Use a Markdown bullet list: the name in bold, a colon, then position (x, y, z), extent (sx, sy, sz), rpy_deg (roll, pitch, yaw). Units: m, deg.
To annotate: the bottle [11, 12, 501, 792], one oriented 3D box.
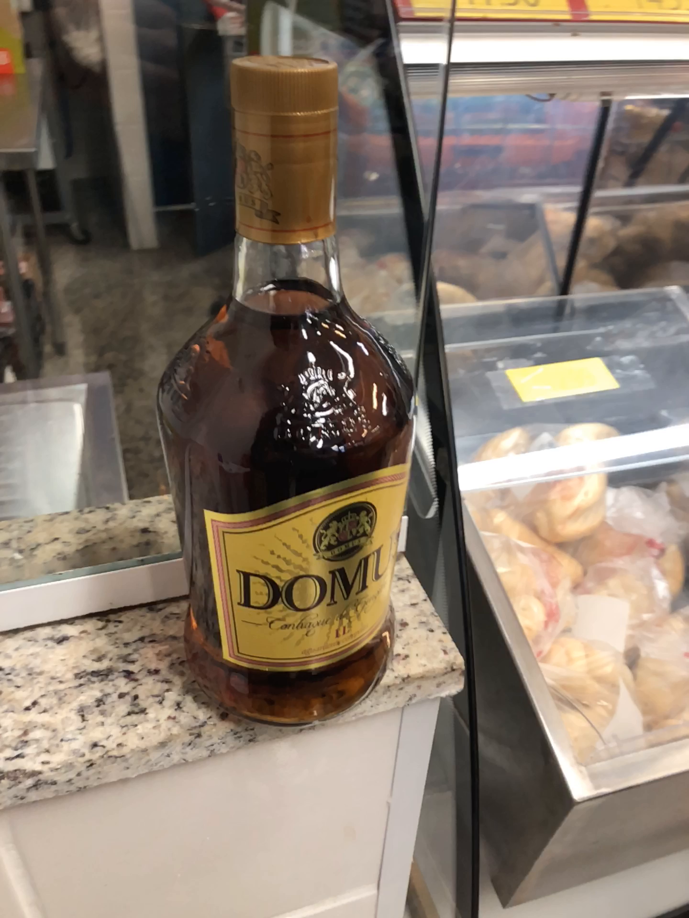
- **bottle**: position (-0.034, -0.016, 0.292), extent (0.100, 0.258, 0.111), rpy_deg (-19, 40, -28)
